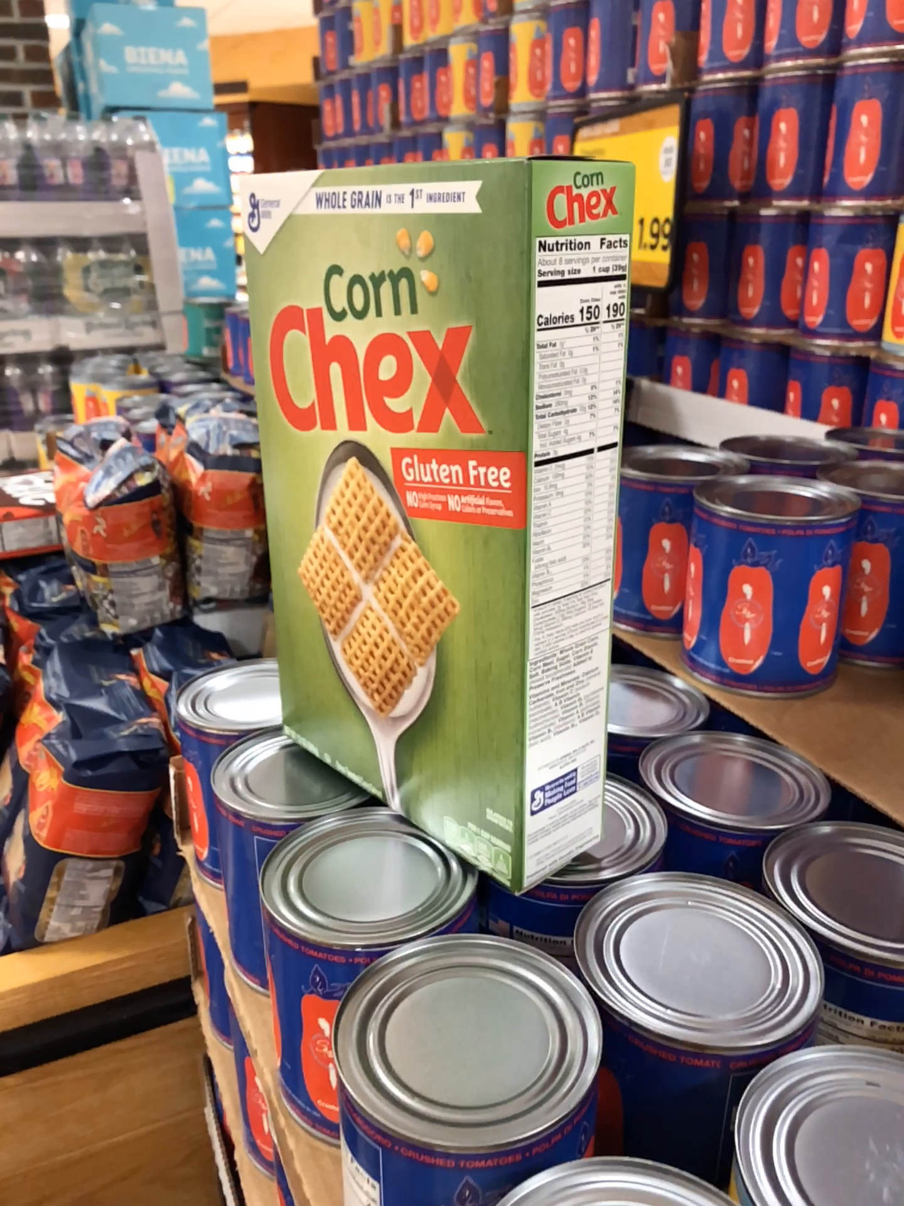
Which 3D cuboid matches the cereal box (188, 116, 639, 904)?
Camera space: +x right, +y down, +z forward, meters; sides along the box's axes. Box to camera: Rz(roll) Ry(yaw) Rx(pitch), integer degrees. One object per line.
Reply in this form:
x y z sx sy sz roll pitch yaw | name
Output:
-0.028 -0.051 0.462 0.060 0.298 0.221 -17 27 -38 | cereal box
